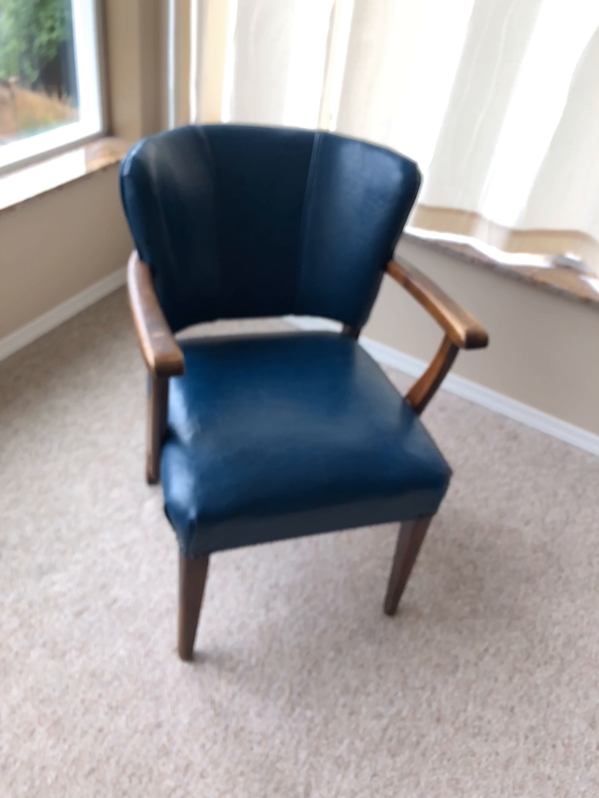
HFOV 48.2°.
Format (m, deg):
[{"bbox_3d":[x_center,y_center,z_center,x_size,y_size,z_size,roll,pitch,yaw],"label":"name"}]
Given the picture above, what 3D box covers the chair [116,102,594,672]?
[{"bbox_3d":[-0.015,-0.021,1.219,0.530,0.797,0.561,-6,43,-18],"label":"chair"}]
